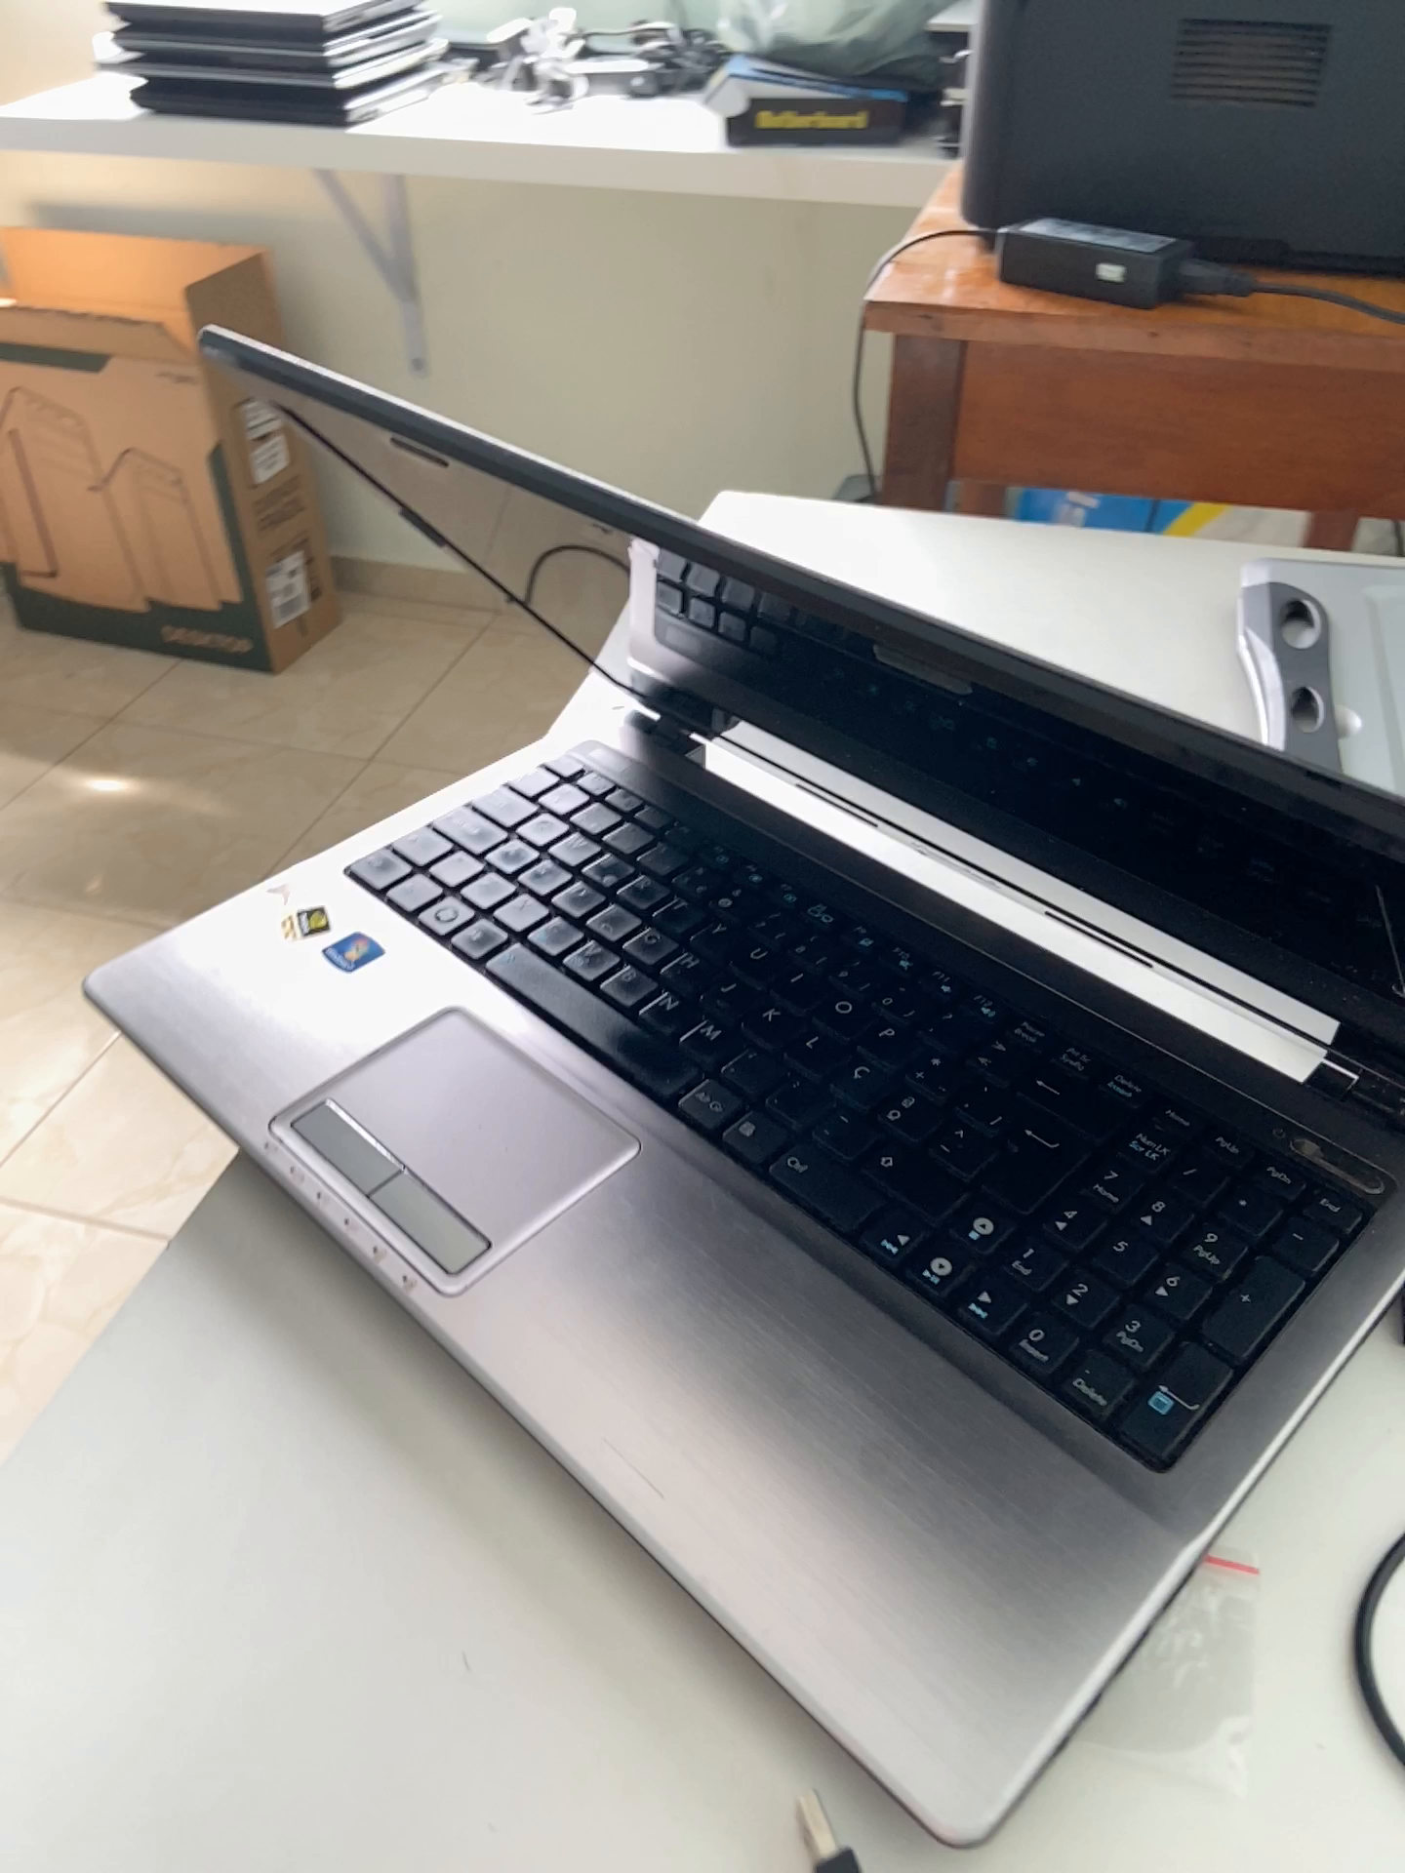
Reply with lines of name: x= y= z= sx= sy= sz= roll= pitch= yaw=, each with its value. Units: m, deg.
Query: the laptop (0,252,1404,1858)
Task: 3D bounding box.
laptop: x=0.003 y=-0.032 z=0.398 sx=0.247 sy=0.182 sz=0.377 roll=-33 pitch=48 yaw=-32
